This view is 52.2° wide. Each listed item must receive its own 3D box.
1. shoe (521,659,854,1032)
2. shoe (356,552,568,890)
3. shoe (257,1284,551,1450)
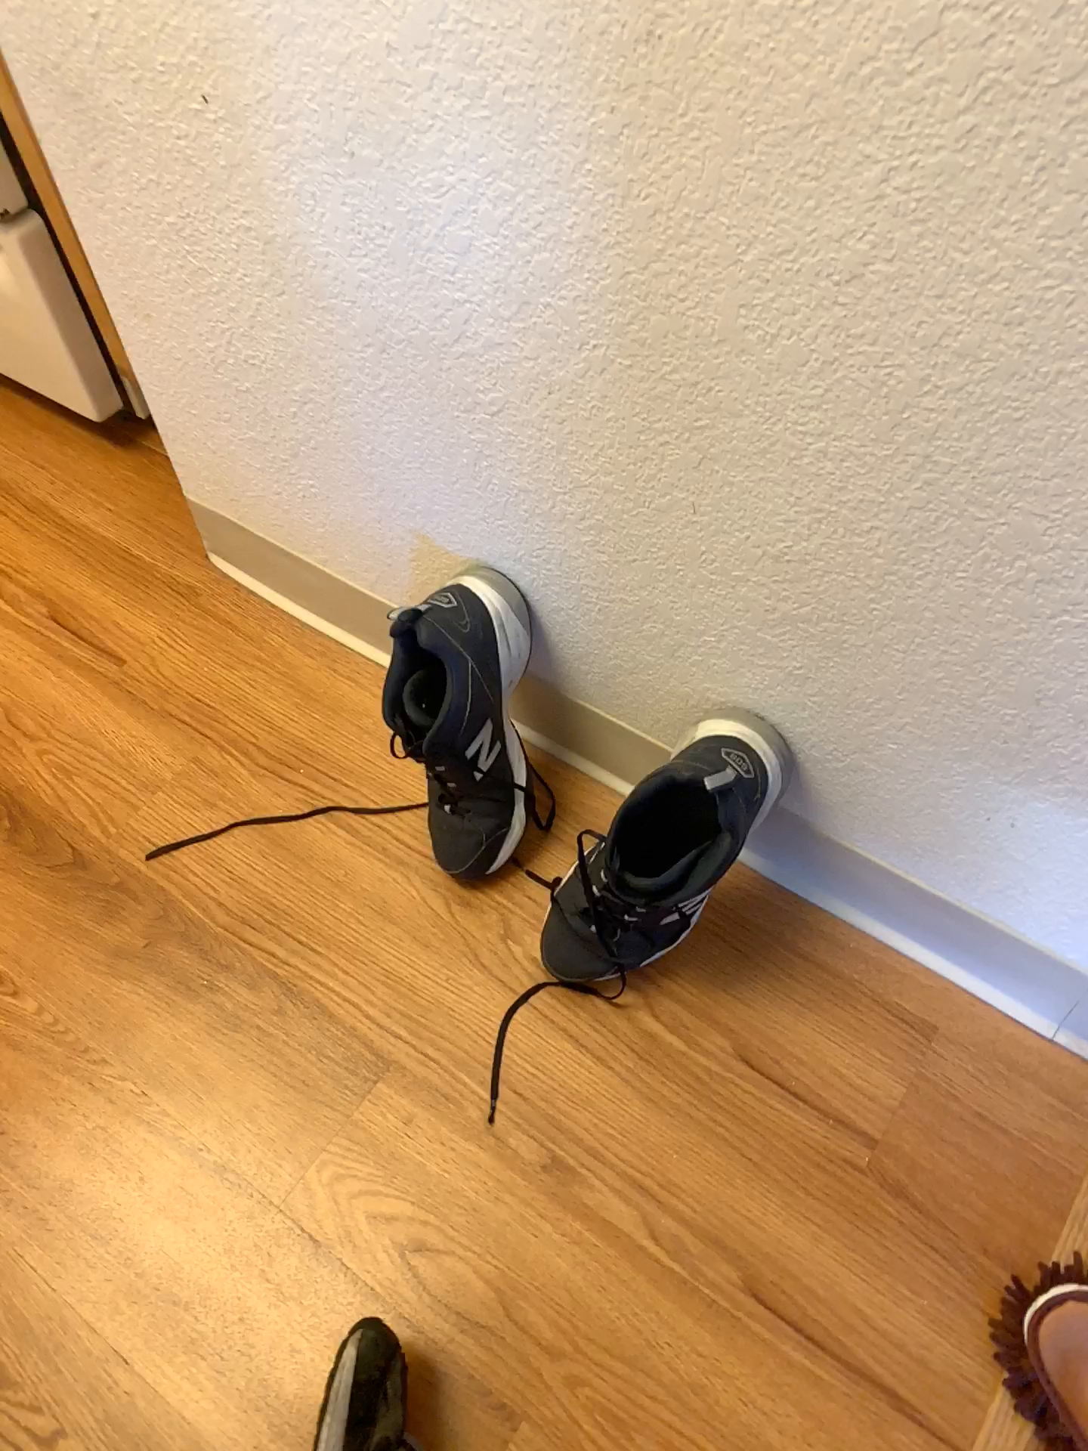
[{"bbox_3d":[0.103,0.096,0.848,0.110,0.259,0.110,37,37,9],"label":"shoe"},{"bbox_3d":[-0.079,-0.009,1.099,0.150,0.259,0.181,10,29,11],"label":"shoe"},{"bbox_3d":[-0.096,0.546,0.717,0.110,0.110,0.301,-18,55,-1],"label":"shoe"}]
